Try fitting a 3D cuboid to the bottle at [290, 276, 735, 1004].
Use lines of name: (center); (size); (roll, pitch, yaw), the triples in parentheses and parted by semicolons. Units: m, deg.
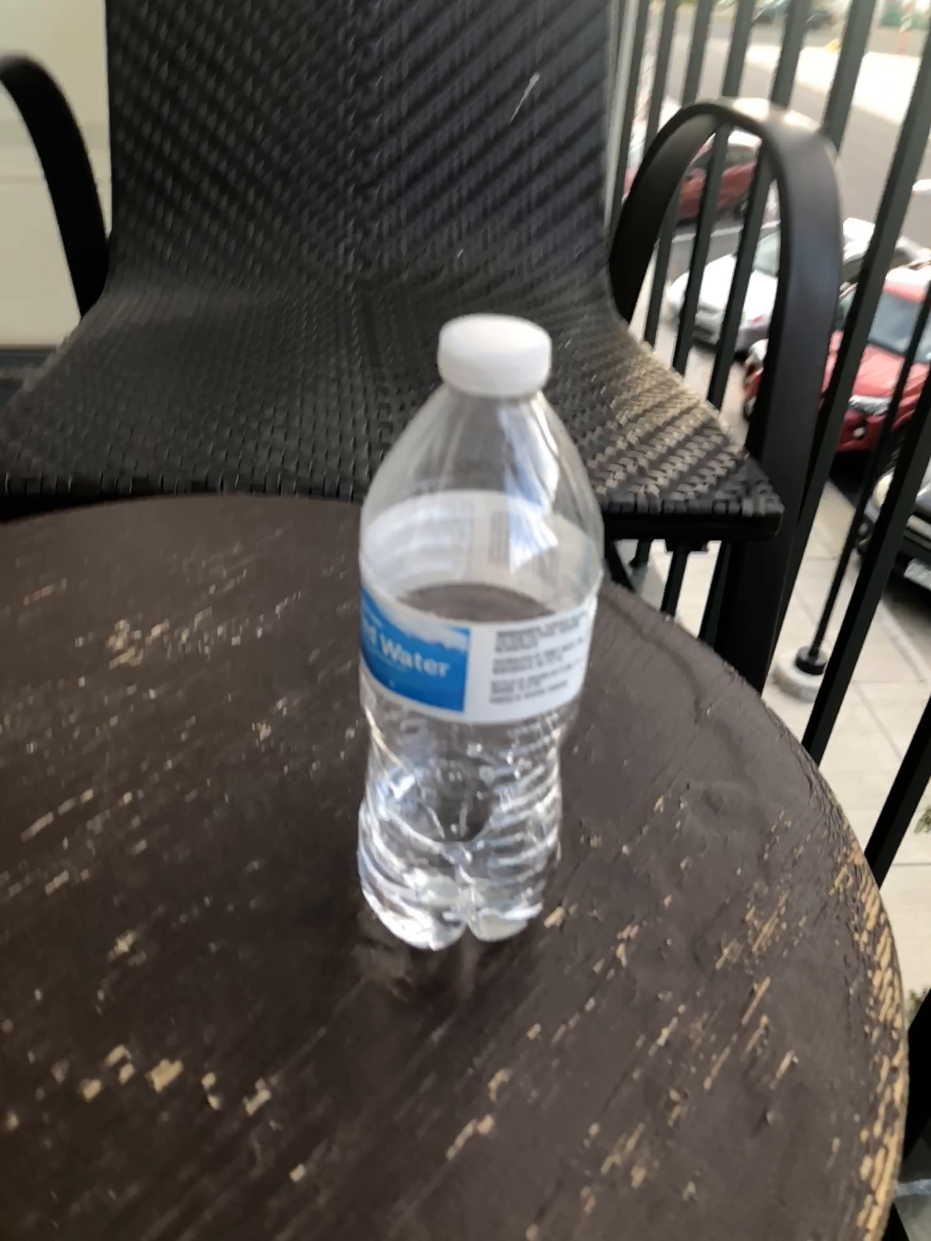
bottle: (0.003, 0.010, 0.297); (0.080, 0.189, 0.075); (3, 35, -2)
